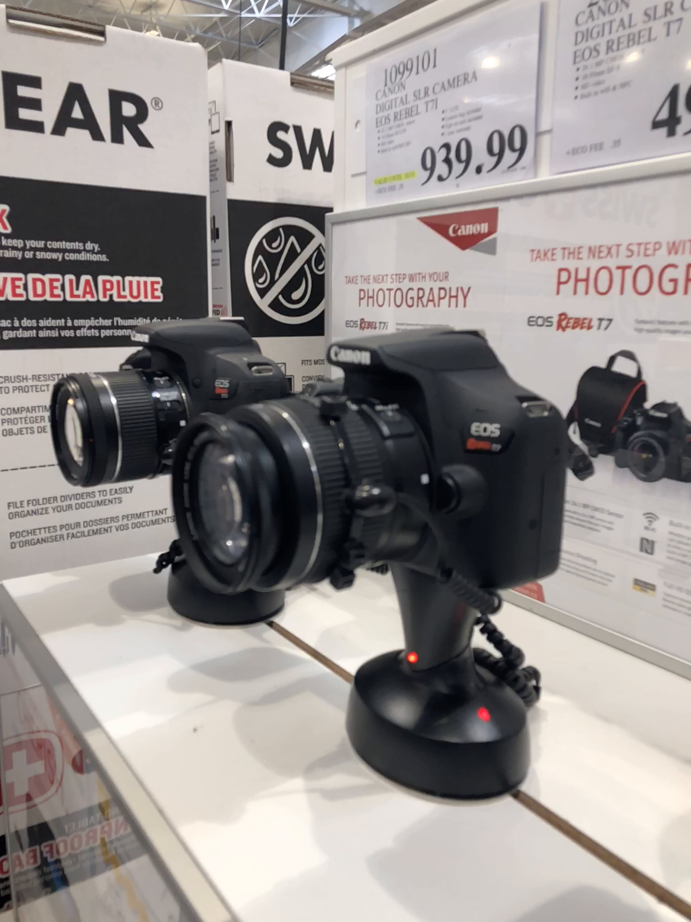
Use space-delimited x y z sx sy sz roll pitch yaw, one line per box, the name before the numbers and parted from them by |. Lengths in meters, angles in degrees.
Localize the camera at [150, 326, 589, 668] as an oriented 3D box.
camera | 0.004 -0.003 0.311 0.120 0.100 0.130 -8 14 -36
